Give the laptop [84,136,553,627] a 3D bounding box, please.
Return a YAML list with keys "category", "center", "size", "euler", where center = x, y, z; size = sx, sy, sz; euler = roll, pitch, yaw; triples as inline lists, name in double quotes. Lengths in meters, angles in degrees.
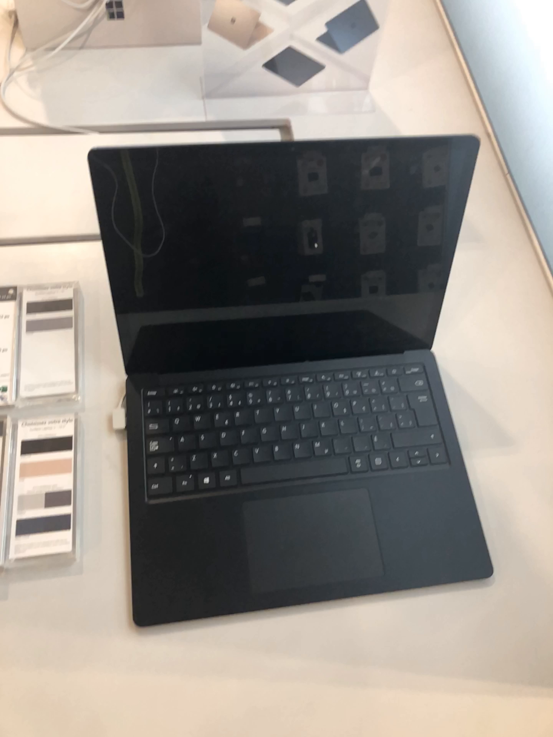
- category: "laptop"
  center: [0.024, 0.009, 0.490]
  size: [0.308, 0.198, 0.314]
  euler: [-5, 63, -8]
